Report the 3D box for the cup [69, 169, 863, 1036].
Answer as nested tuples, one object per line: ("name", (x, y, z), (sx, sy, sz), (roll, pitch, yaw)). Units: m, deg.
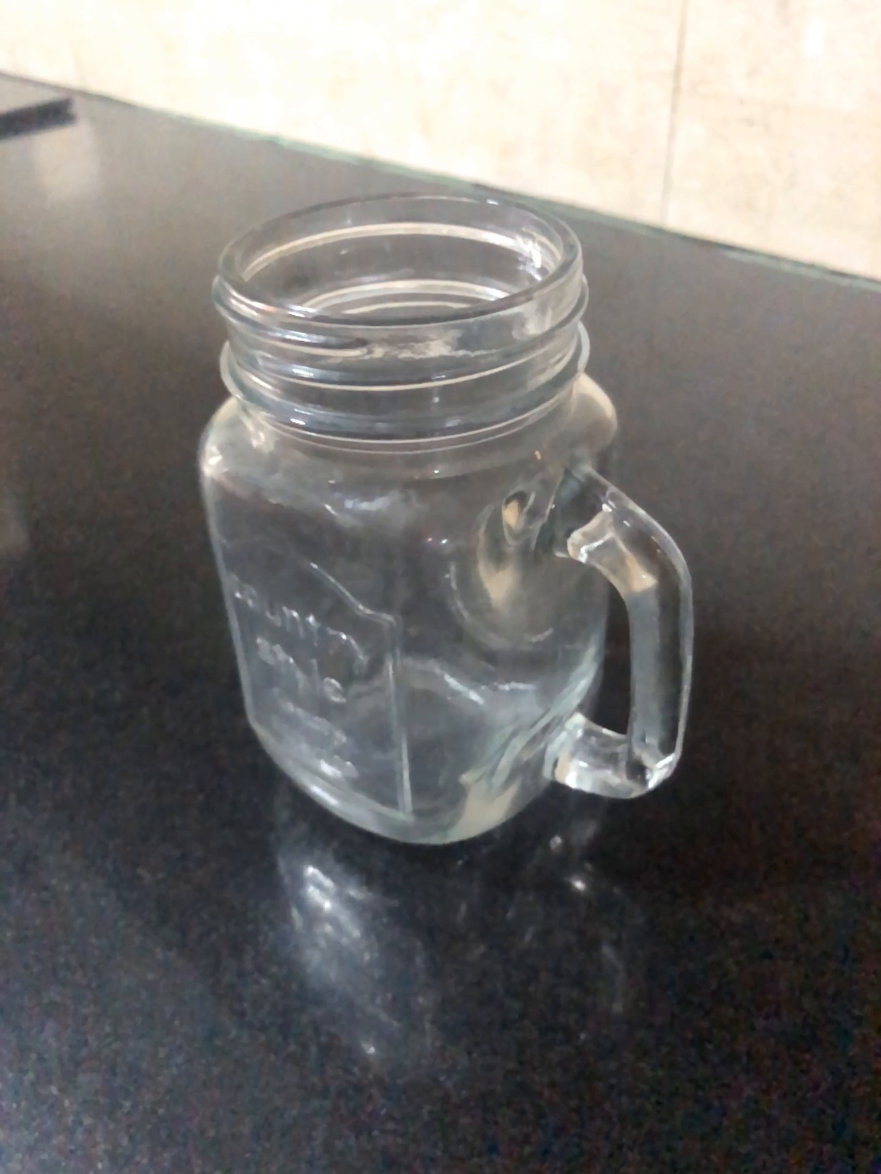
("cup", (0.005, -0.003, 0.210), (0.110, 0.129, 0.080), (25, 45, 31))
